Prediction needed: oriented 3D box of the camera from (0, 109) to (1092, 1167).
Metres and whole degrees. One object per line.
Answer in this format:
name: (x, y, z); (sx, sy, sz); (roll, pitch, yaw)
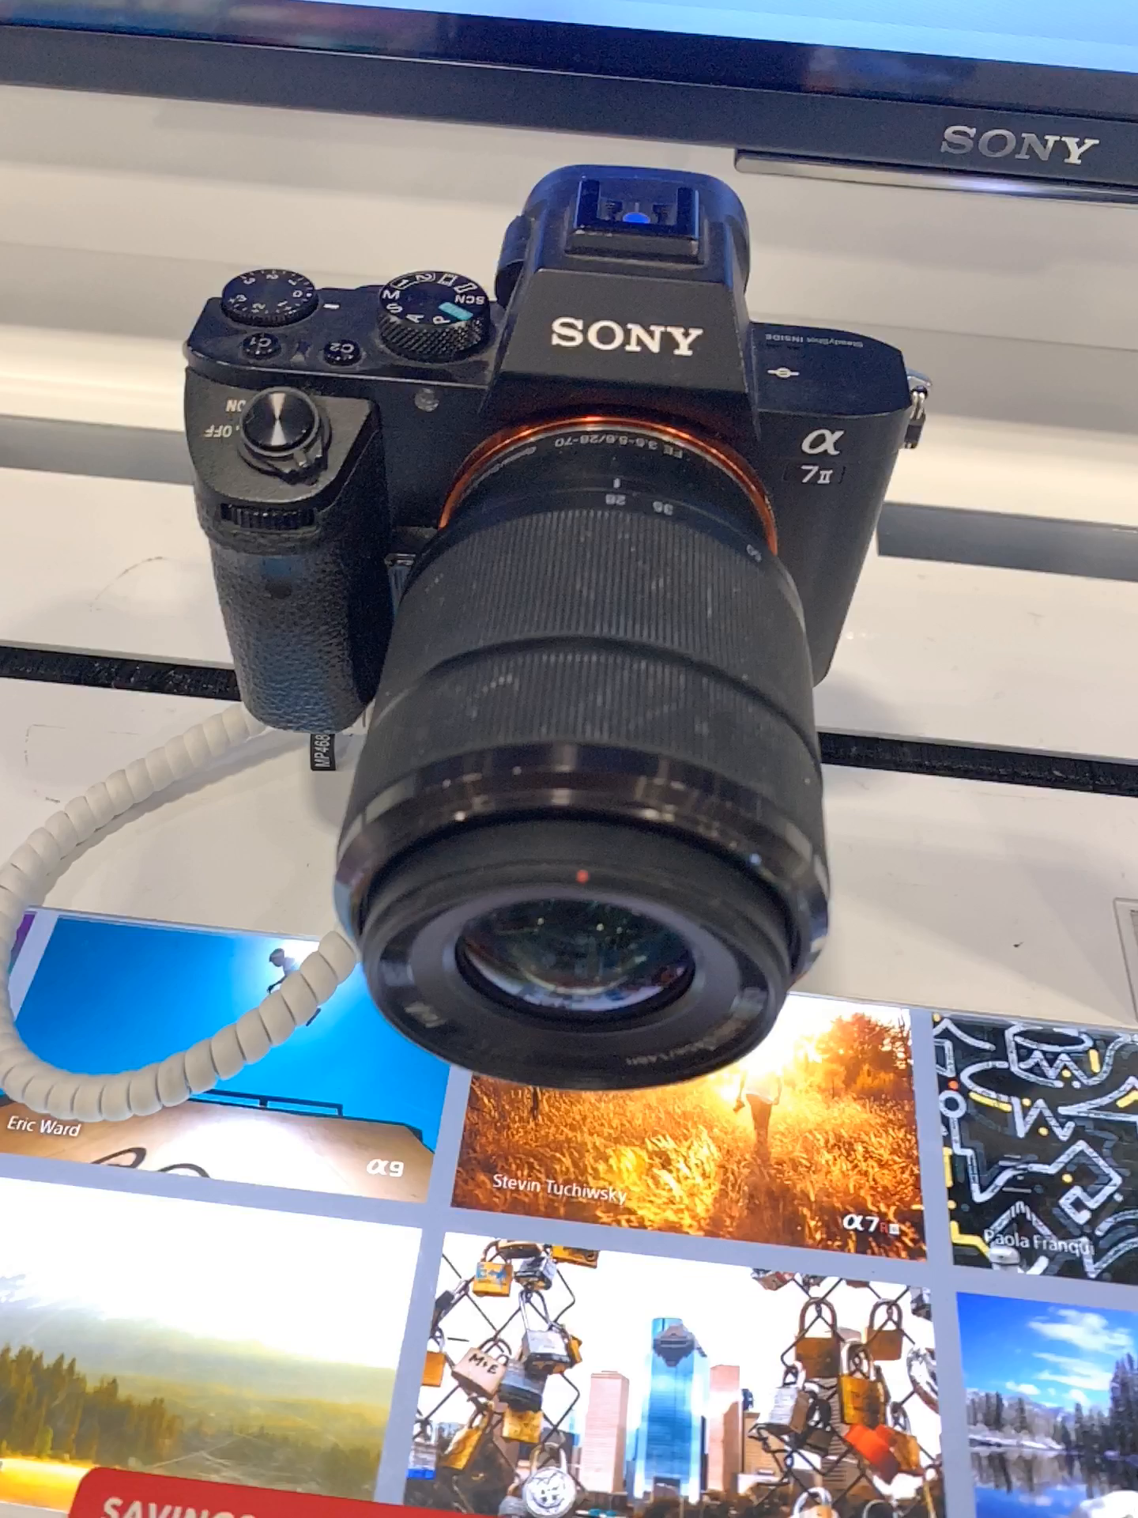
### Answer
camera: (-0.008, -0.025, 0.196); (0.130, 0.090, 0.142); (5, 52, 3)
